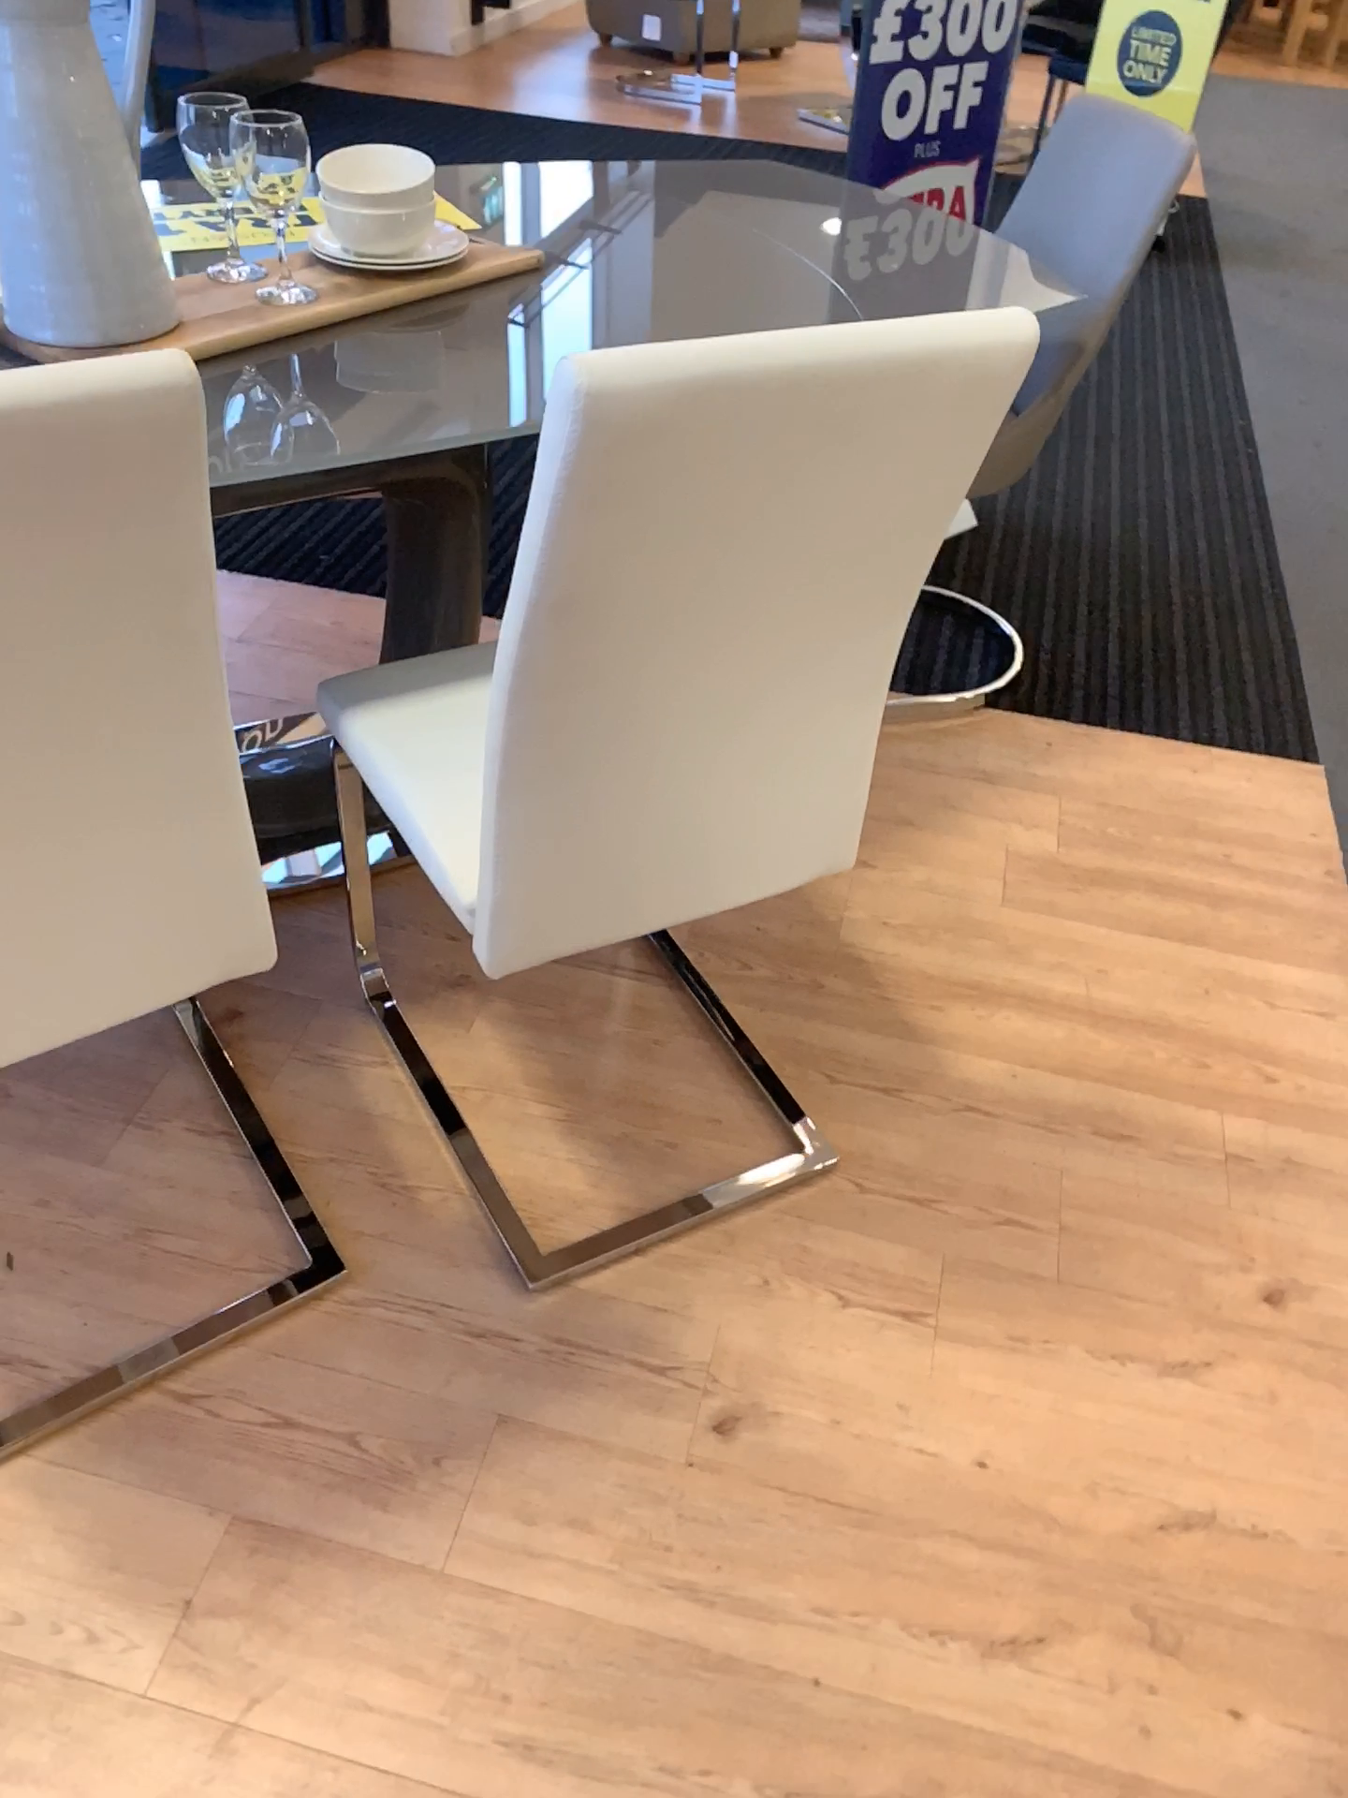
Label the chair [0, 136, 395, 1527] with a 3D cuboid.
[{"bbox_3d":[-0.580,-0.040,1.139,0.433,0.932,0.528,-22,47,-29],"label":"chair"}]

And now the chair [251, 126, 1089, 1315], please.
[{"bbox_3d":[-0.058,-0.160,1.323,0.423,0.923,0.539,-18,44,-25],"label":"chair"}]
